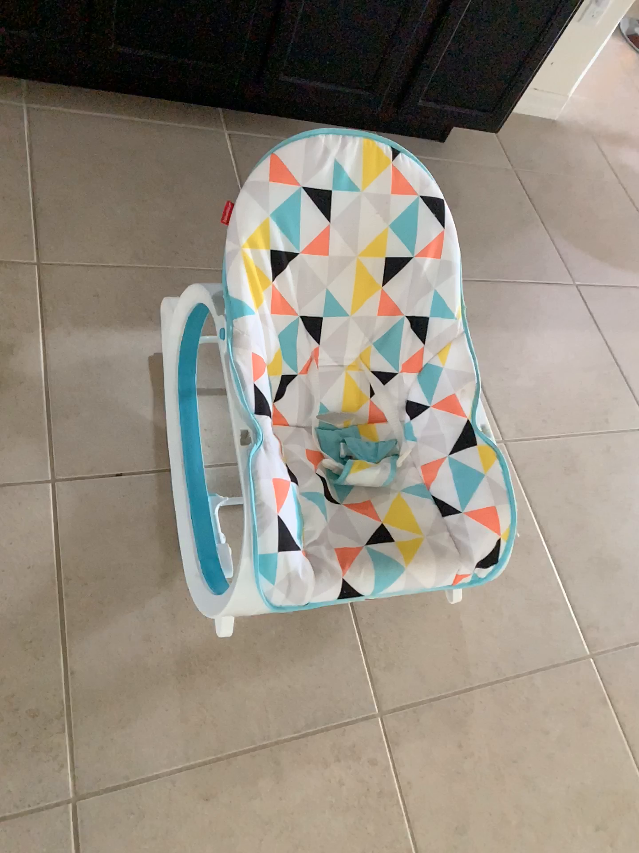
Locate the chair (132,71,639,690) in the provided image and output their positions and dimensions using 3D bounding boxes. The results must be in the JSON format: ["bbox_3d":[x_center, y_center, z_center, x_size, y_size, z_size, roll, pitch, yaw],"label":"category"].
[{"bbox_3d":[0.039,-0.060,1.031,0.532,0.486,0.734,-4,63,-23],"label":"chair"}]
